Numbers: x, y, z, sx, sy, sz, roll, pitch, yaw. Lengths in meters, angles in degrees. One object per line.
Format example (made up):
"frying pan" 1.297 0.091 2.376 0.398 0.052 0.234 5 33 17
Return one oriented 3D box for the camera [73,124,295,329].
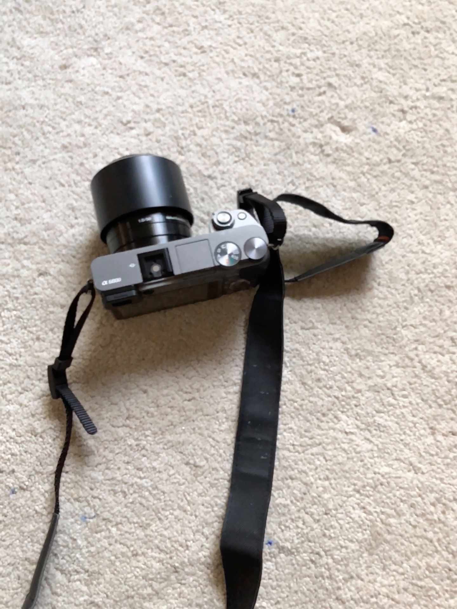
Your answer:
"camera" -0.031 -0.052 0.356 0.120 0.070 0.100 -13 76 -7
